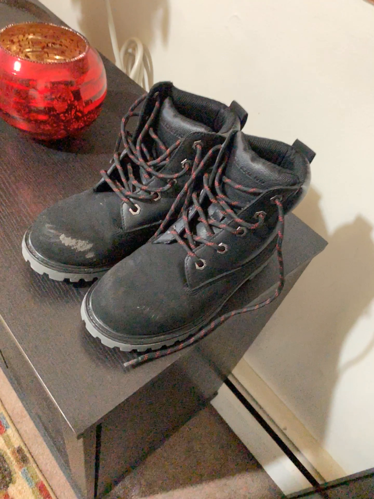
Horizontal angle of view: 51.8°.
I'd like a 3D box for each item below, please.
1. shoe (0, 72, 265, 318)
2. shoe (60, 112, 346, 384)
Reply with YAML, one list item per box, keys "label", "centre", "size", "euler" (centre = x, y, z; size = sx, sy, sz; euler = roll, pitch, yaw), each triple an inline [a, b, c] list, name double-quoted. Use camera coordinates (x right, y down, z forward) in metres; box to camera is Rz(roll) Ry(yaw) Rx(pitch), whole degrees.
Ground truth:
- label: "shoe"
  centre: [-0.054, -0.062, 0.392]
  size: [0.221, 0.159, 0.100]
  euler: [-29, 63, -33]
- label: "shoe"
  centre: [0.013, -0.010, 0.368]
  size: [0.231, 0.159, 0.100]
  euler: [-29, 63, -33]
